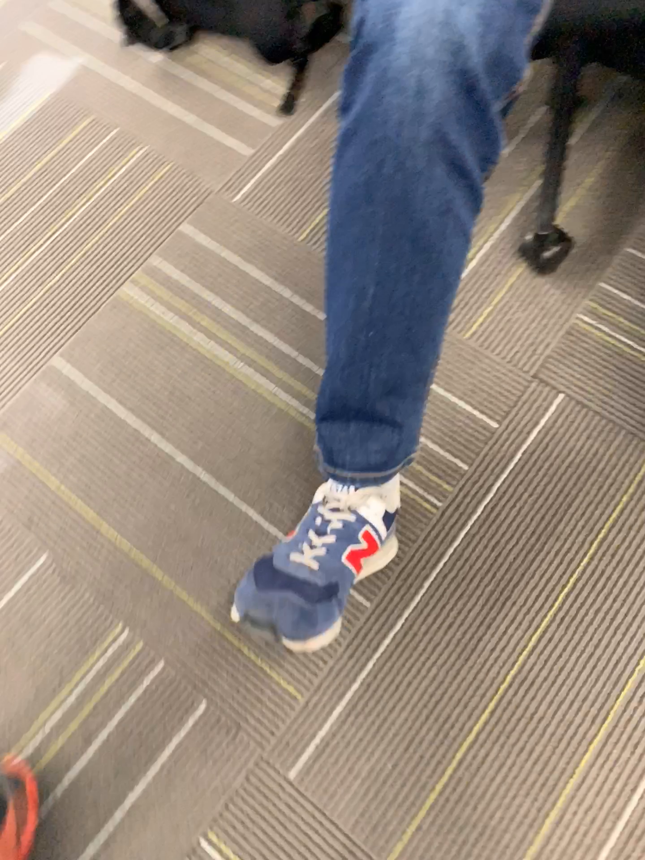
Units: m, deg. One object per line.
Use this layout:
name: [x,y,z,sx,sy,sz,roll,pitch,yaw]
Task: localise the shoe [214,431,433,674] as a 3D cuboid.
shoe: [0.015,0.115,0.747,0.120,0.296,0.136,13,111,24]
